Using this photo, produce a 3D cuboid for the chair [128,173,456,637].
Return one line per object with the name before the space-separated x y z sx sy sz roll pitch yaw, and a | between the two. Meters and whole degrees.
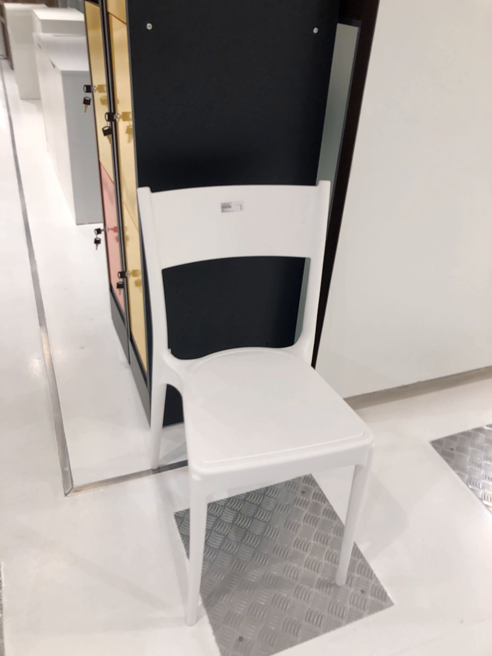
chair | 0.015 0.140 1.123 0.410 0.764 0.483 -7 34 -16
